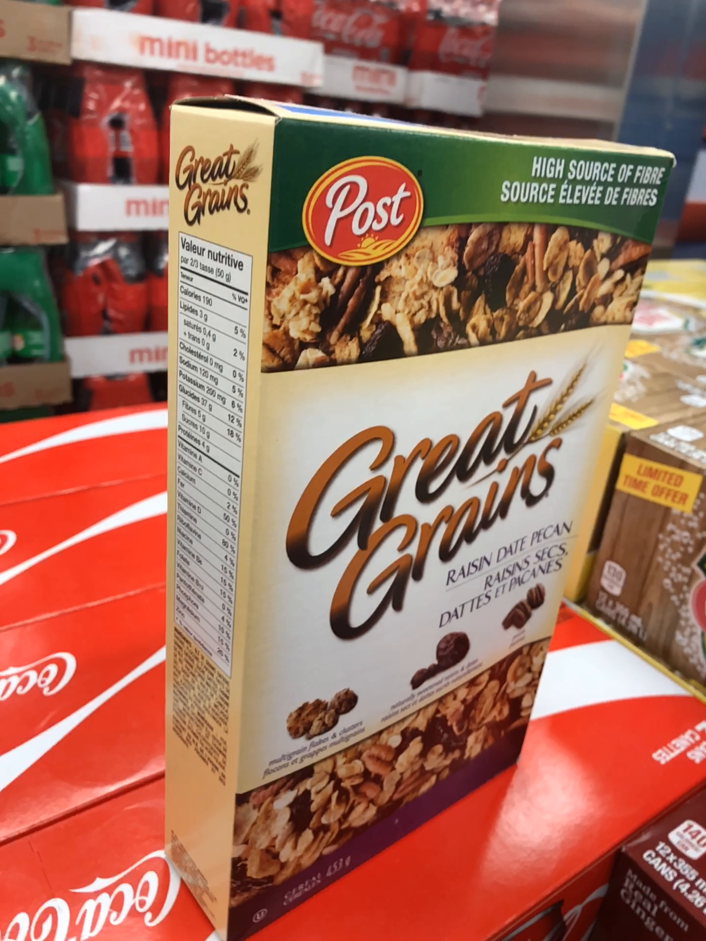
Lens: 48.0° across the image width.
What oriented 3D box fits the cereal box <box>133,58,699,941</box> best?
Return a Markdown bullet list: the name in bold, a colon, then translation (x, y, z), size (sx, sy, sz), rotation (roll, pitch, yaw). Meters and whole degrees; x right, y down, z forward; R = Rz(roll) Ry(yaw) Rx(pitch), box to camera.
- **cereal box**: translation (0.015, 0.018, 0.277), size (0.170, 0.269, 0.050), rotation (-13, 32, -37)
